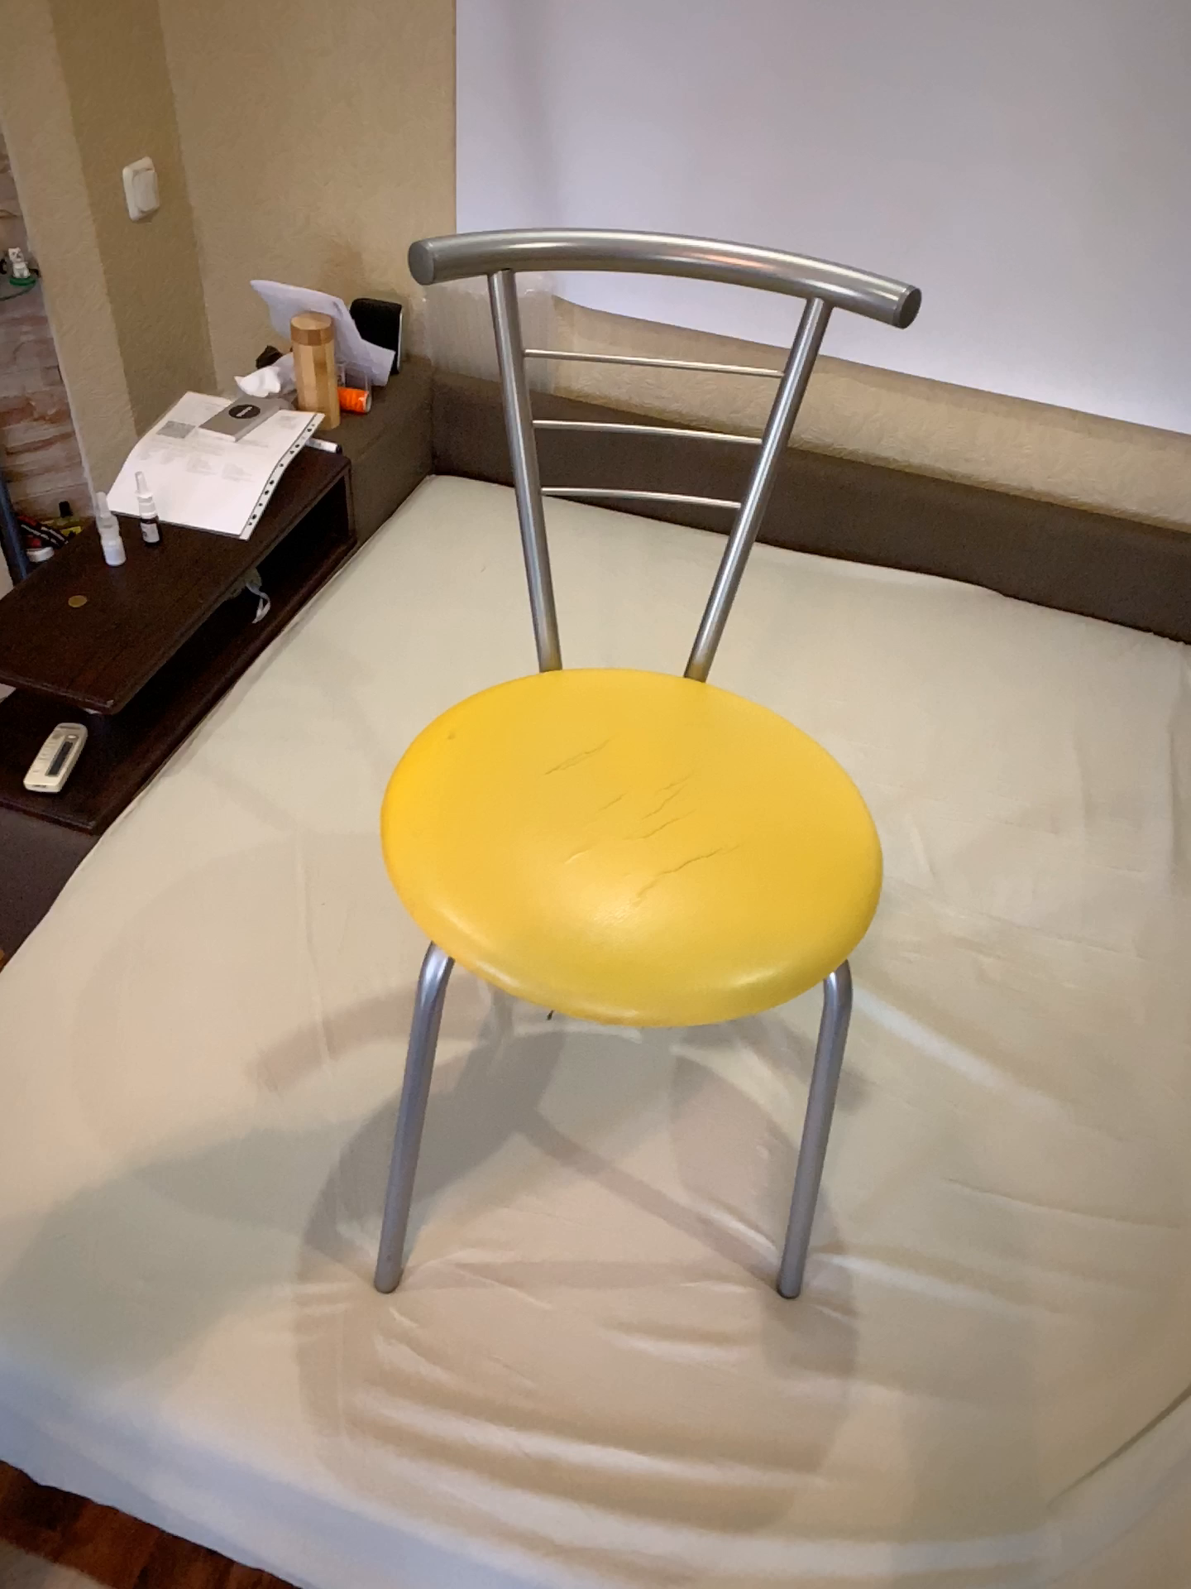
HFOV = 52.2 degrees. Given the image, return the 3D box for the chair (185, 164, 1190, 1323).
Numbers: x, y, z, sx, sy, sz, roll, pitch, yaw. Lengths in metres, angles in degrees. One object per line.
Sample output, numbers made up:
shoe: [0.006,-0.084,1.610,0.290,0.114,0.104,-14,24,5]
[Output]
chair: [0.024,-0.002,0.979,0.460,0.763,0.505,3,42,-3]
